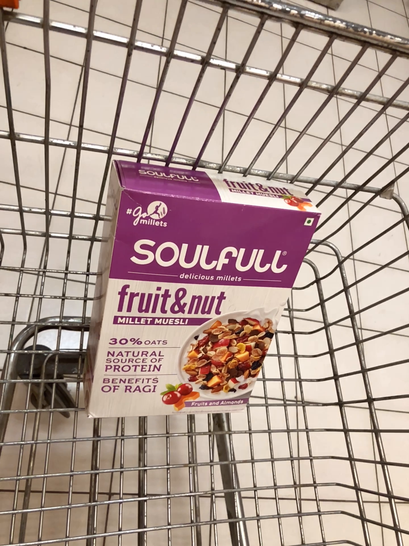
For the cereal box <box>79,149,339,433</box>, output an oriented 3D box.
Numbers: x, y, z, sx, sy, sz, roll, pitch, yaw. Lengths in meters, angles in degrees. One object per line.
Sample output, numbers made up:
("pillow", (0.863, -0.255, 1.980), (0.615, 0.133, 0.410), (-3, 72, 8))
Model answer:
("cereal box", (-0.012, 0.029, 0.407), (0.170, 0.239, 0.070), (3, 32, -20))
